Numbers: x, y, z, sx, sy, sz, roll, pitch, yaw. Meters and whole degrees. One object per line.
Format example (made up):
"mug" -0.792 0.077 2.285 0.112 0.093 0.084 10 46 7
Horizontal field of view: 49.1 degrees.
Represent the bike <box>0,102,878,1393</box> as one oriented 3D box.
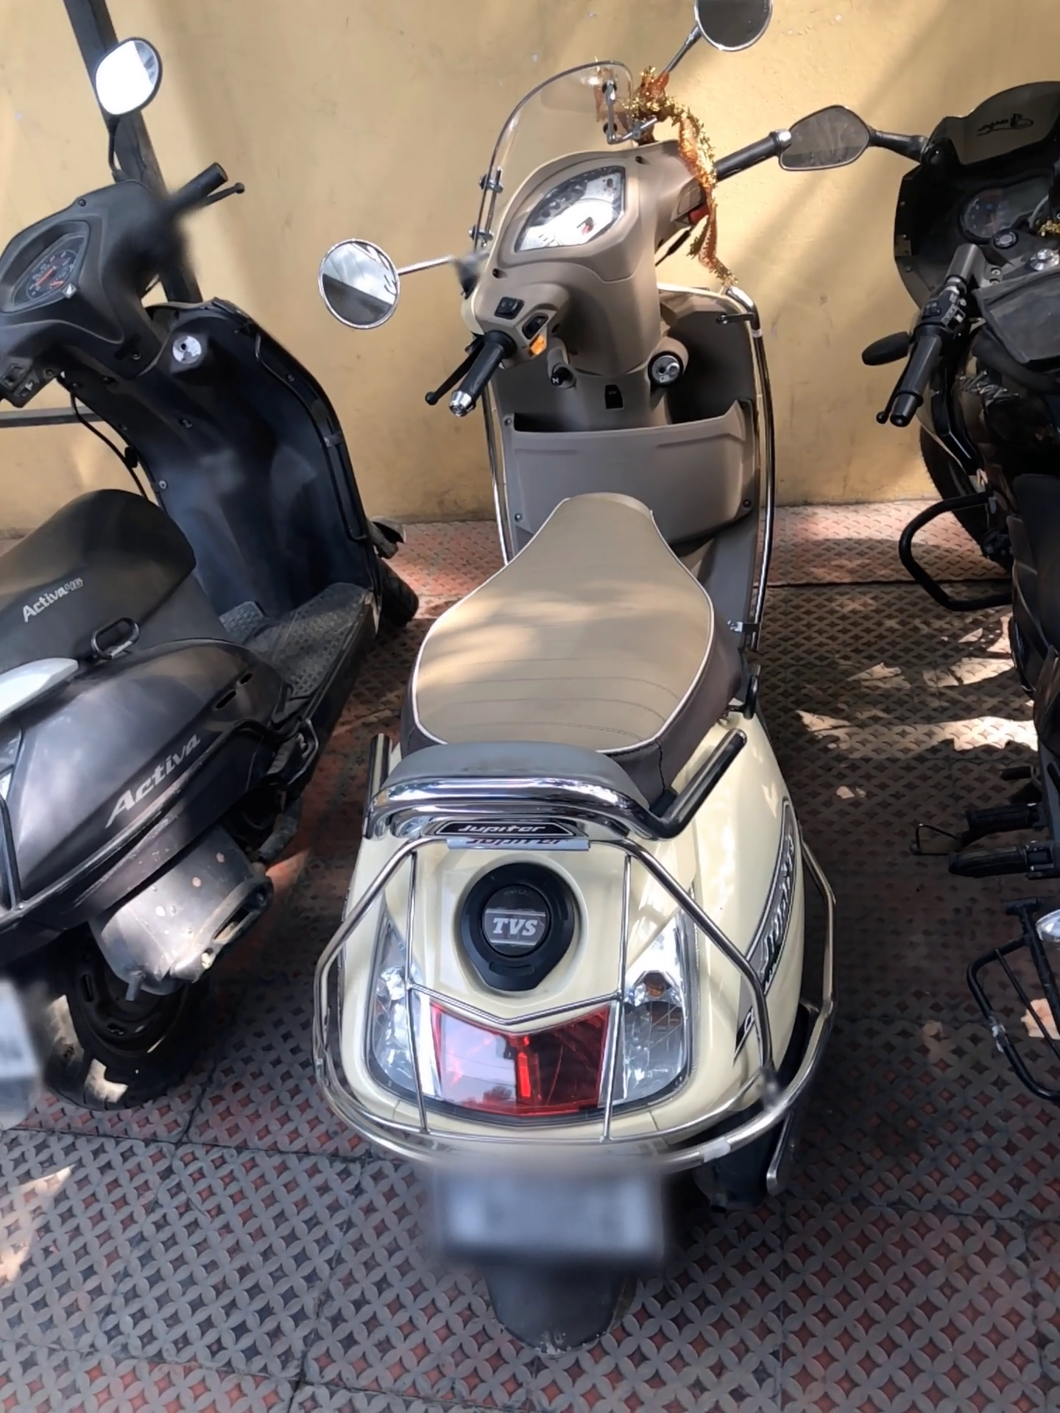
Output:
"bike" -0.004 -0.122 1.697 0.644 0.998 1.636 -5 38 8
